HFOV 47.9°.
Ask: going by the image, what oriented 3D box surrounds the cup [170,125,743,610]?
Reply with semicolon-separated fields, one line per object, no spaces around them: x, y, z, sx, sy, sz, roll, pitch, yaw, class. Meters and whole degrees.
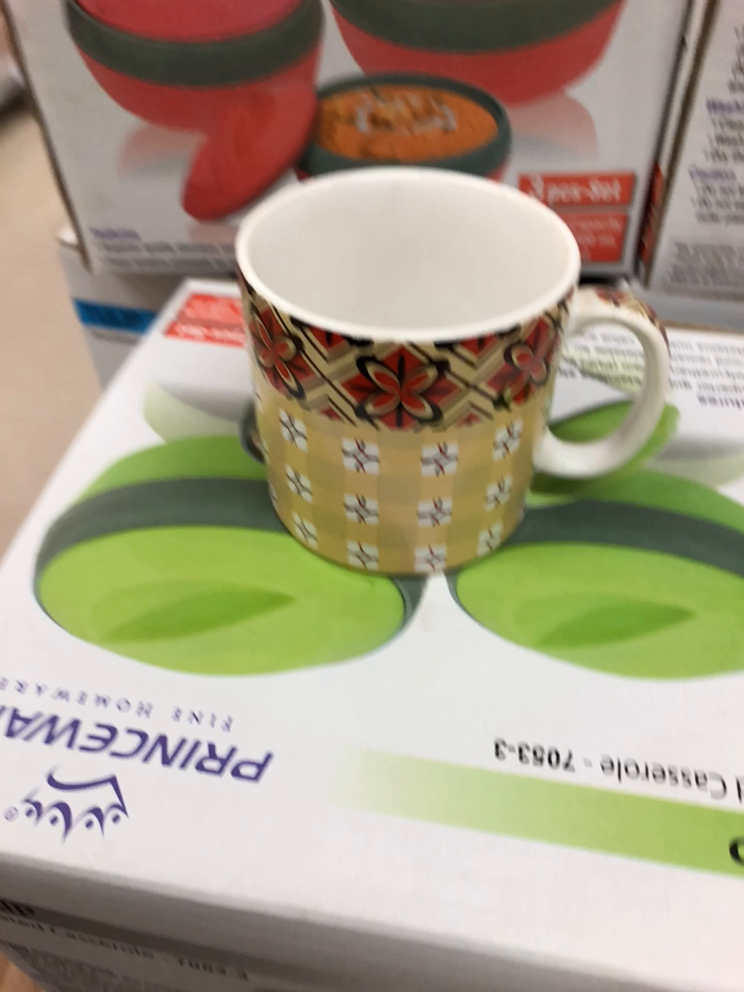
0.022;-0.034;0.209;0.110;0.079;0.081;6;44;6;cup
